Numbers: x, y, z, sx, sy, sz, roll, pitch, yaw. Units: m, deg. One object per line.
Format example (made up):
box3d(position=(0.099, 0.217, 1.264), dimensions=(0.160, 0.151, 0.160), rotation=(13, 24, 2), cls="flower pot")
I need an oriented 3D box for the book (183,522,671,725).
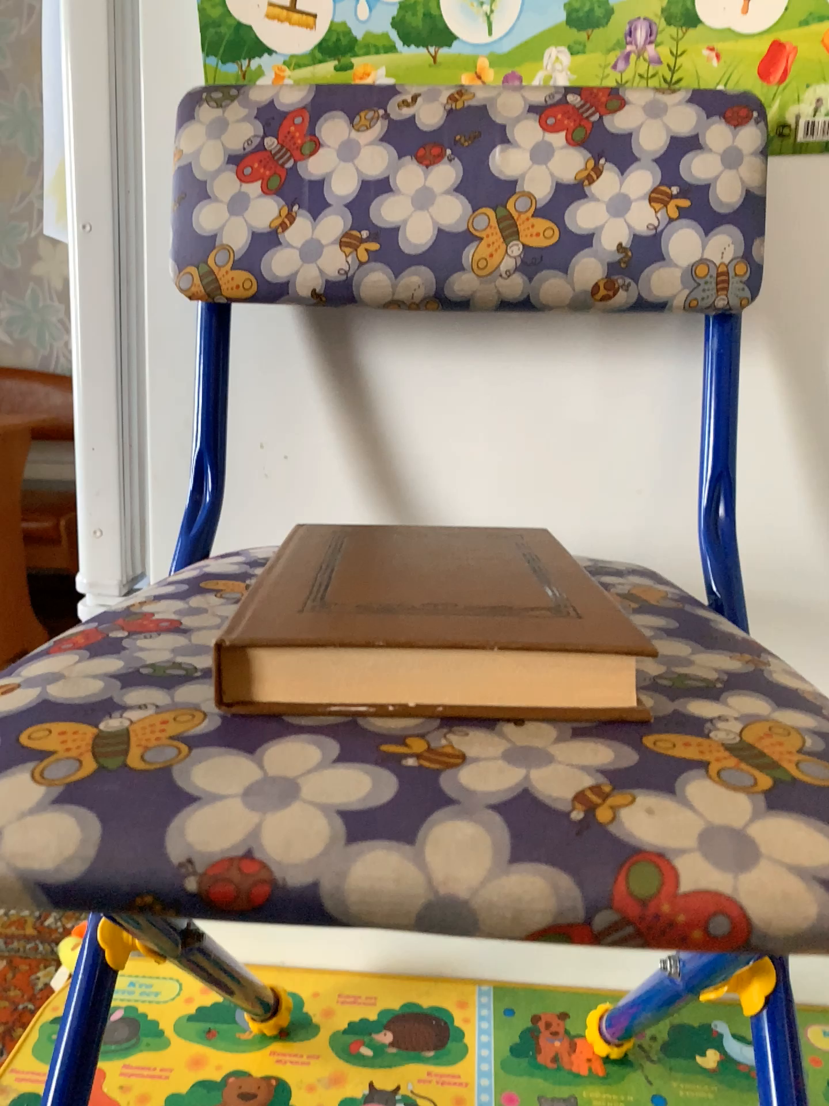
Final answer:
box3d(position=(0.001, 0.015, 0.302), dimensions=(0.124, 0.020, 0.171), rotation=(1, 12, -2), cls="book")
